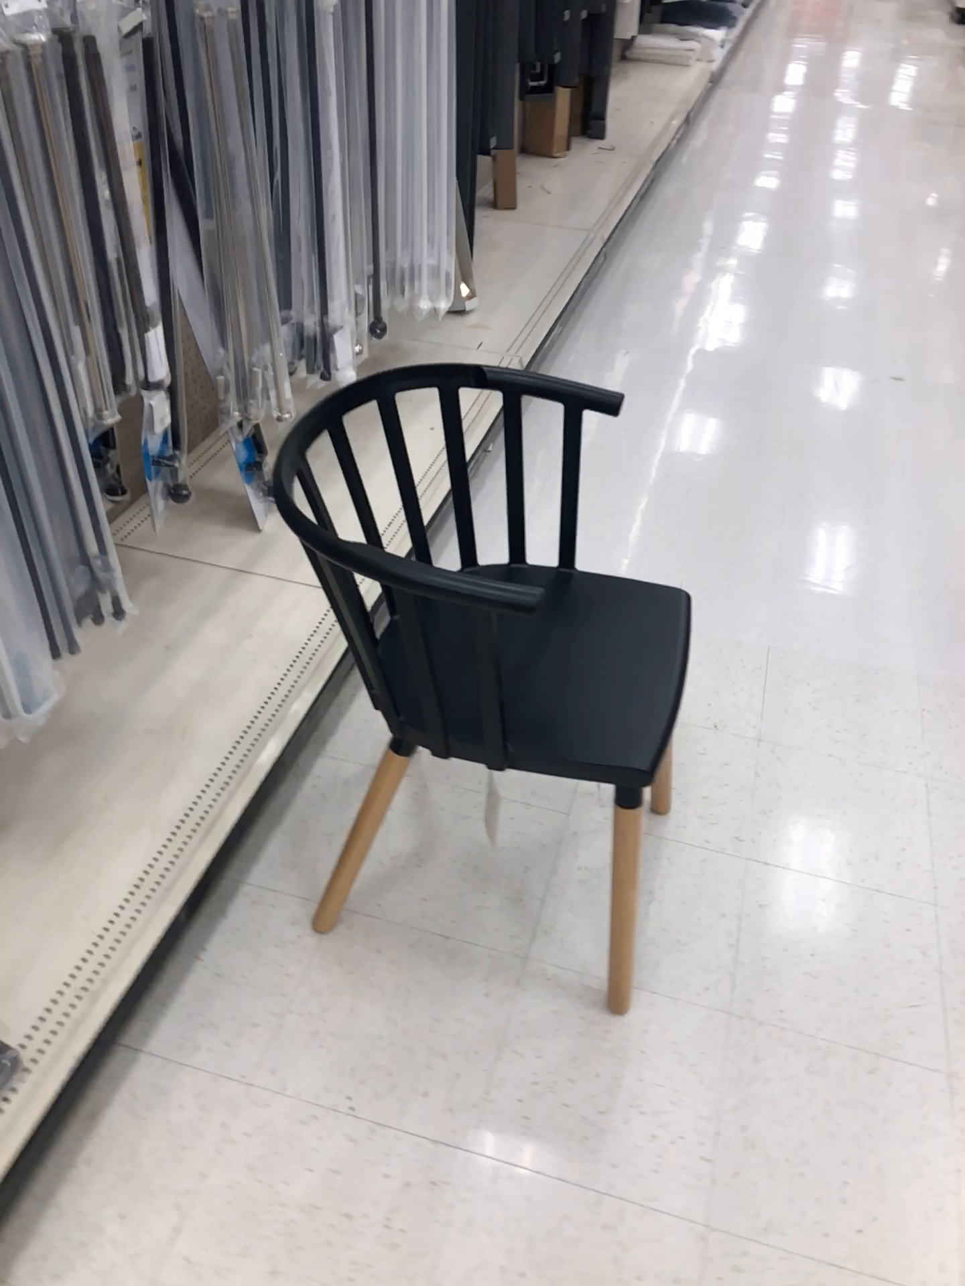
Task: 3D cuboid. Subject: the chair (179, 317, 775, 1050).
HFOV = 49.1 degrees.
[{"bbox_3d":[0.020,0.042,1.452,0.567,0.730,0.537,12,38,11],"label":"chair"}]
